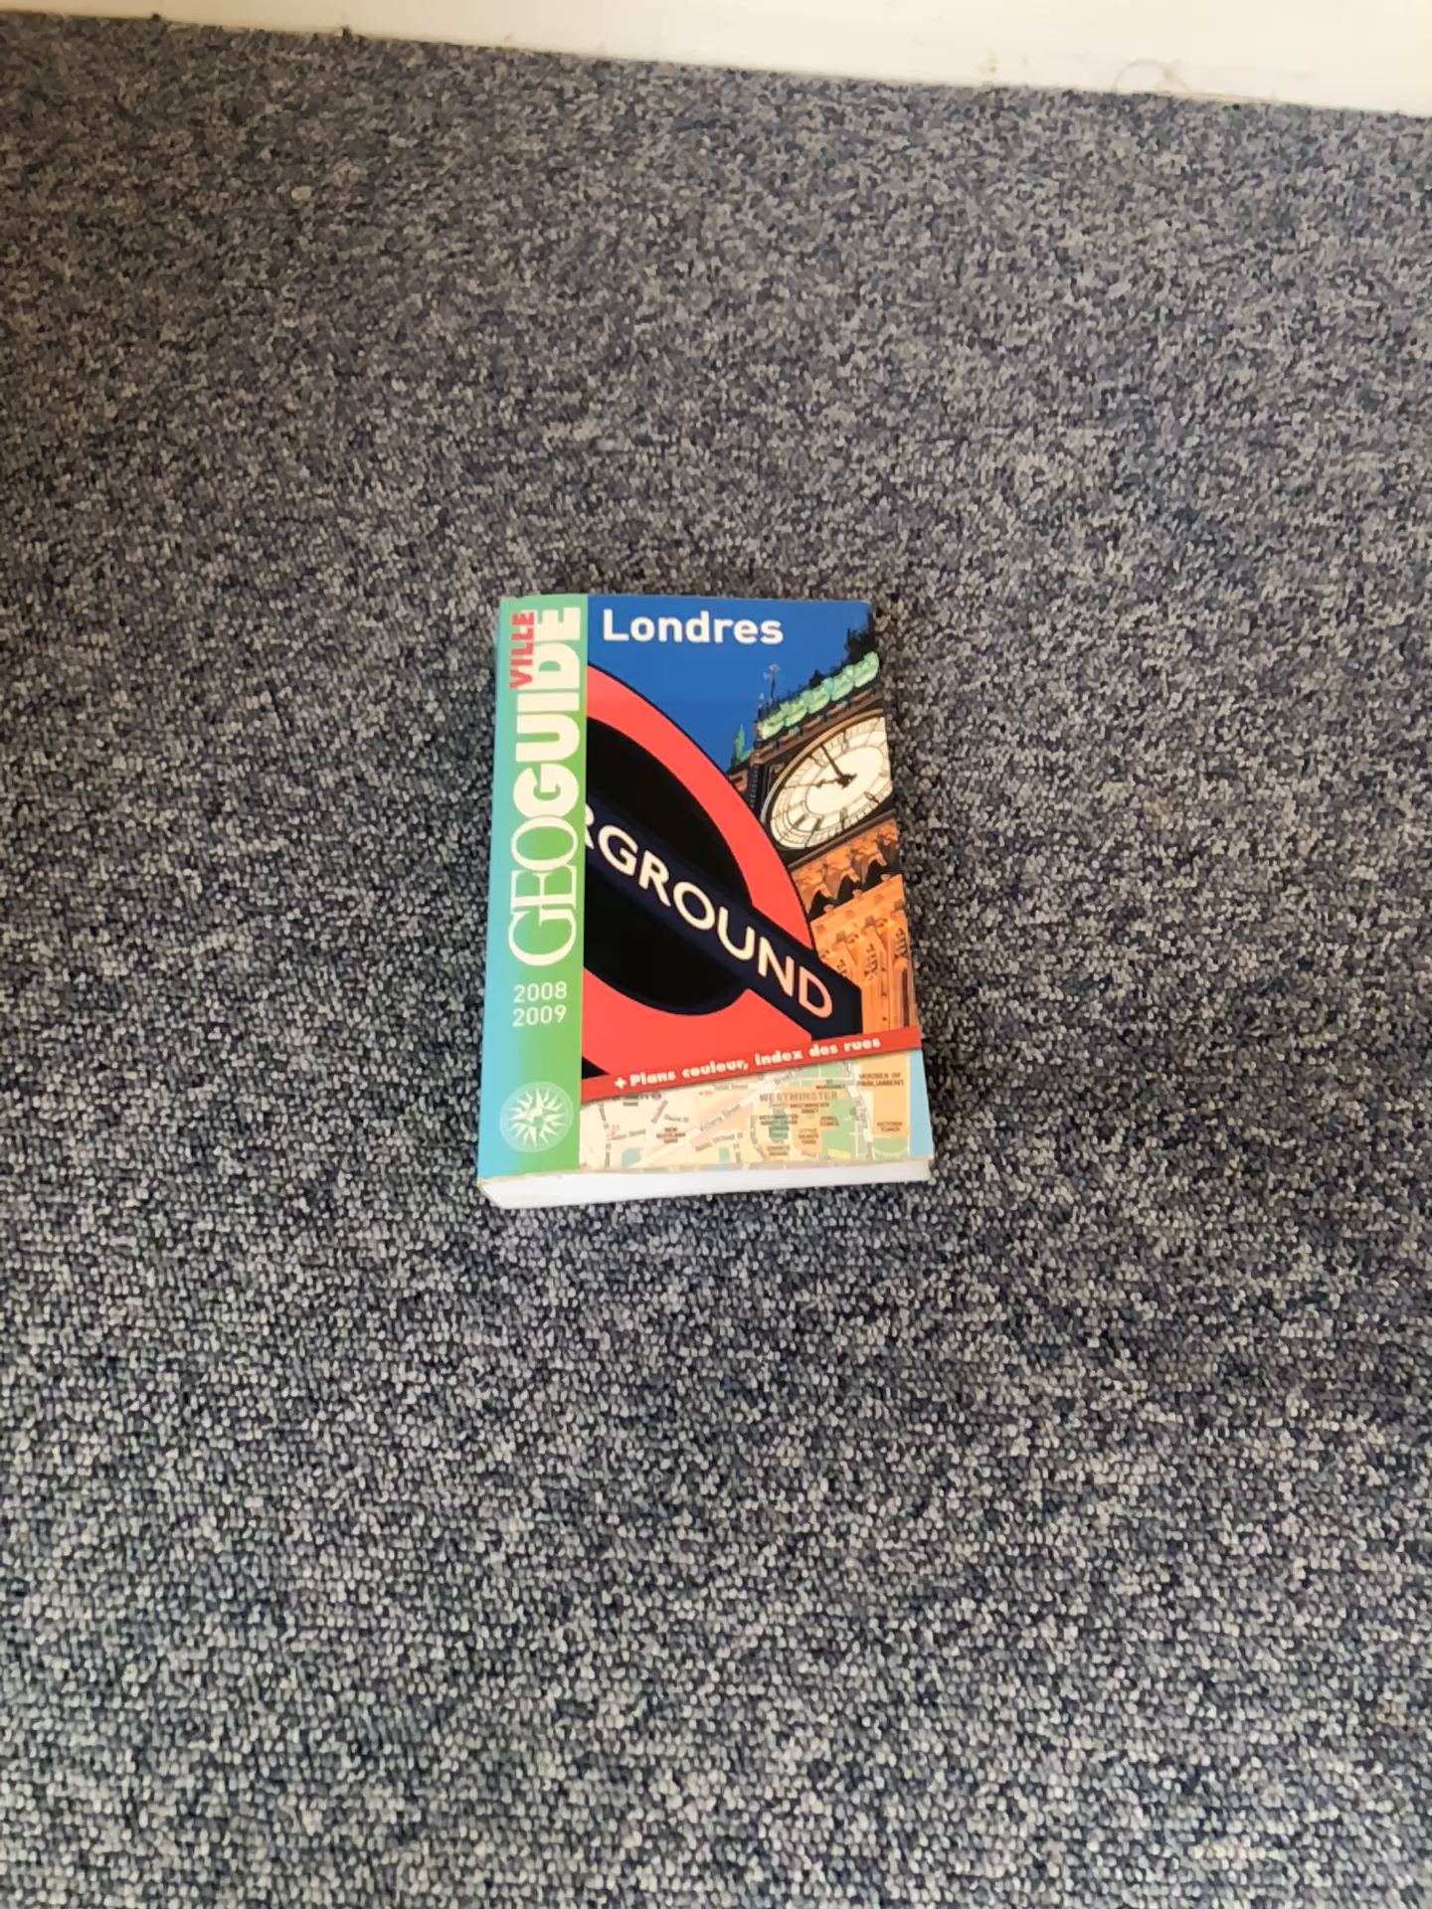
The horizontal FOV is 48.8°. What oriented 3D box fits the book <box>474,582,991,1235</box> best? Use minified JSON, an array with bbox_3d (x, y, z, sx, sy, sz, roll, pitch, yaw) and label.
[{"bbox_3d":[-0.001,-0.022,0.458,0.130,0.030,0.201,-1,60,-5],"label":"book"}]
